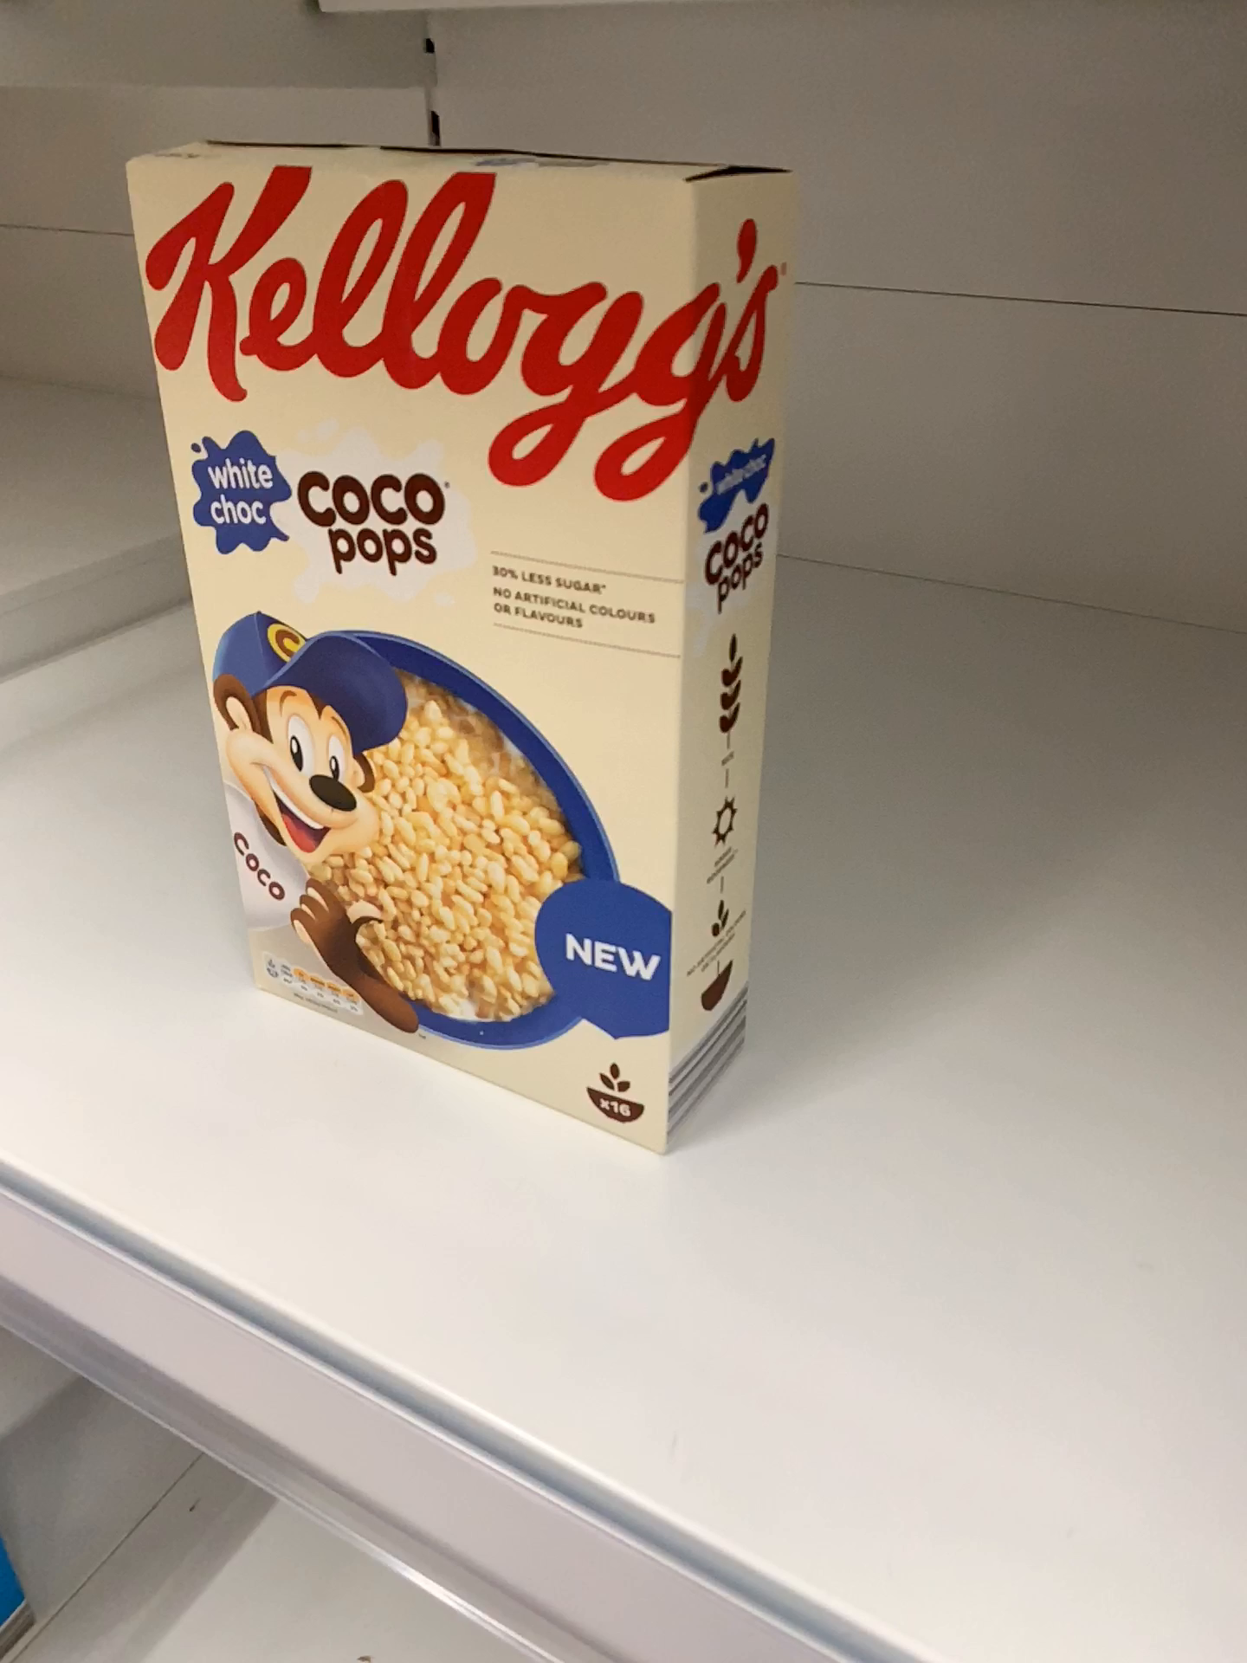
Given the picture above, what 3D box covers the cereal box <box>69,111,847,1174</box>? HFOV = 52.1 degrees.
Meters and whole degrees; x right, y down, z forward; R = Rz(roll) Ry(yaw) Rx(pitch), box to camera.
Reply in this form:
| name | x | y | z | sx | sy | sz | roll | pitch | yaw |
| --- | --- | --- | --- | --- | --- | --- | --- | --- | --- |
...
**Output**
| name | x | y | z | sx | sy | sz | roll | pitch | yaw |
| --- | --- | --- | --- | --- | --- | --- | --- | --- | --- |
| cereal box | -0.053 | -0.062 | 0.415 | 0.211 | 0.297 | 0.070 | 16 | 31 | 26 |
